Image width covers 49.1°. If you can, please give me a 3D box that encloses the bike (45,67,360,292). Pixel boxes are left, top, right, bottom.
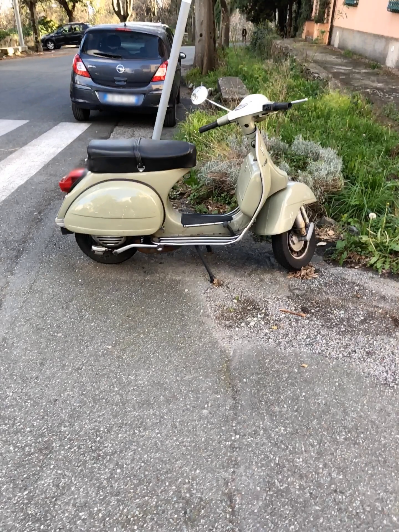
[{"bbox_3d":[-0.008,-0.504,2.520,1.441,1.027,0.624,-3,32,-3],"label":"bike"}]
